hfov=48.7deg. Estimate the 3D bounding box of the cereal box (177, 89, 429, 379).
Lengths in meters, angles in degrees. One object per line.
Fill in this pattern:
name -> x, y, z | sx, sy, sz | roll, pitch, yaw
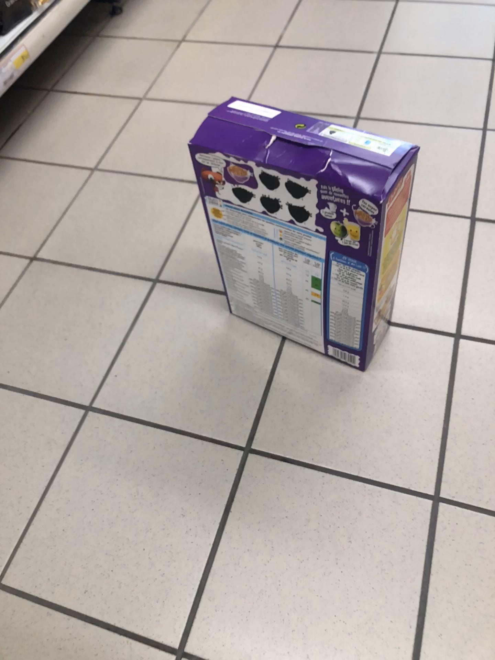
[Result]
cereal box -> 0.058, -0.087, 0.576 | 0.200, 0.269, 0.080 | 23, 61, 22
